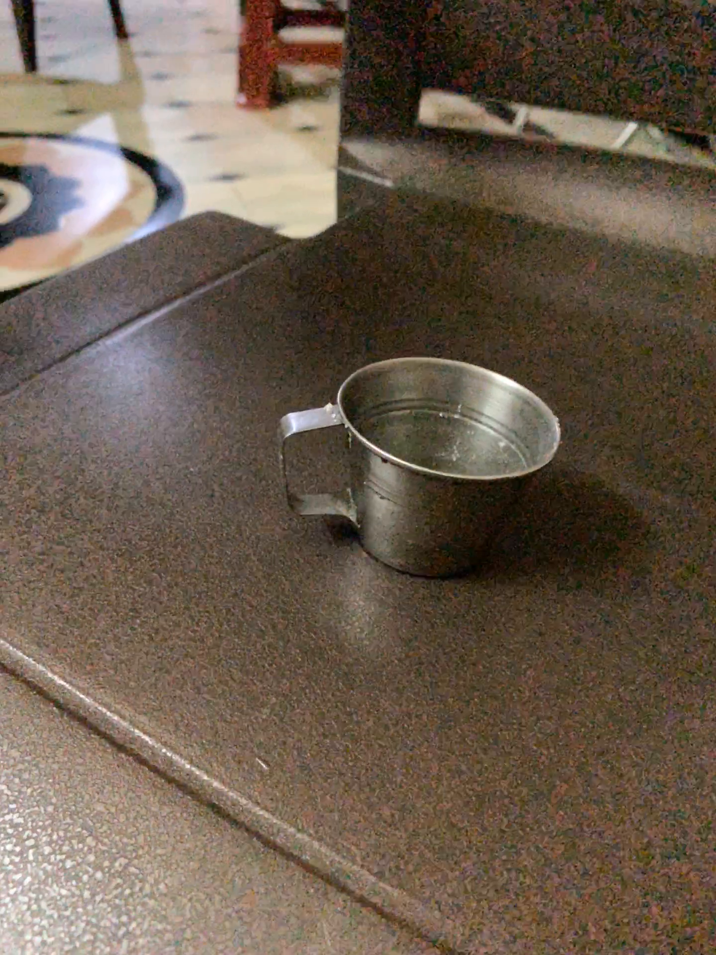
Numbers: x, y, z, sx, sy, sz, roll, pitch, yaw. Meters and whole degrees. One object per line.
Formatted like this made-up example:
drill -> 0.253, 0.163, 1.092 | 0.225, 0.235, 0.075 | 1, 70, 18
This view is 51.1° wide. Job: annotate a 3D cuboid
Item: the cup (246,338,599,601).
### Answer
cup -> 0.011, -0.005, 0.206 | 0.080, 0.040, 0.060 | -2, 42, -11
